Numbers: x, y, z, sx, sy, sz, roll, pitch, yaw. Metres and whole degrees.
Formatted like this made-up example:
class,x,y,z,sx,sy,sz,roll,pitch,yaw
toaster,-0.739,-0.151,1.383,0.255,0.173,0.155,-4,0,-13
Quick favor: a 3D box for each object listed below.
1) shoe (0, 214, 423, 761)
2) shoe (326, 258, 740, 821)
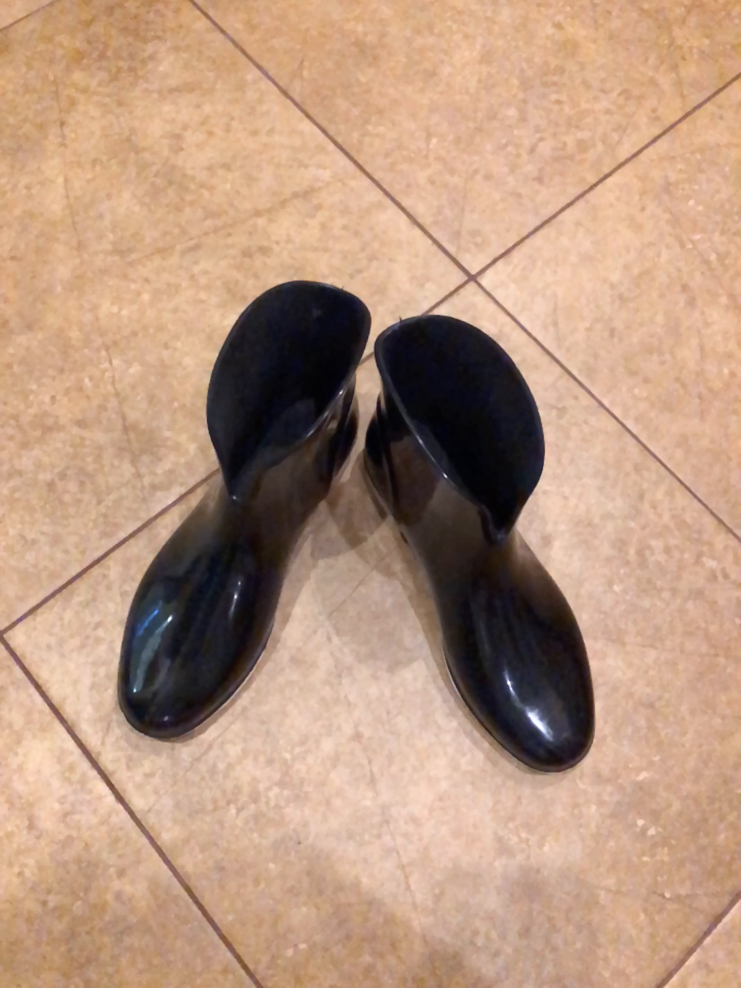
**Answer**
class,x,y,z,sx,sy,sz,roll,pitch,yaw
shoe,-0.076,0.009,0.440,0.090,0.170,0.240,28,72,6
shoe,0.067,0.033,0.438,0.090,0.170,0.240,-23,74,-11
